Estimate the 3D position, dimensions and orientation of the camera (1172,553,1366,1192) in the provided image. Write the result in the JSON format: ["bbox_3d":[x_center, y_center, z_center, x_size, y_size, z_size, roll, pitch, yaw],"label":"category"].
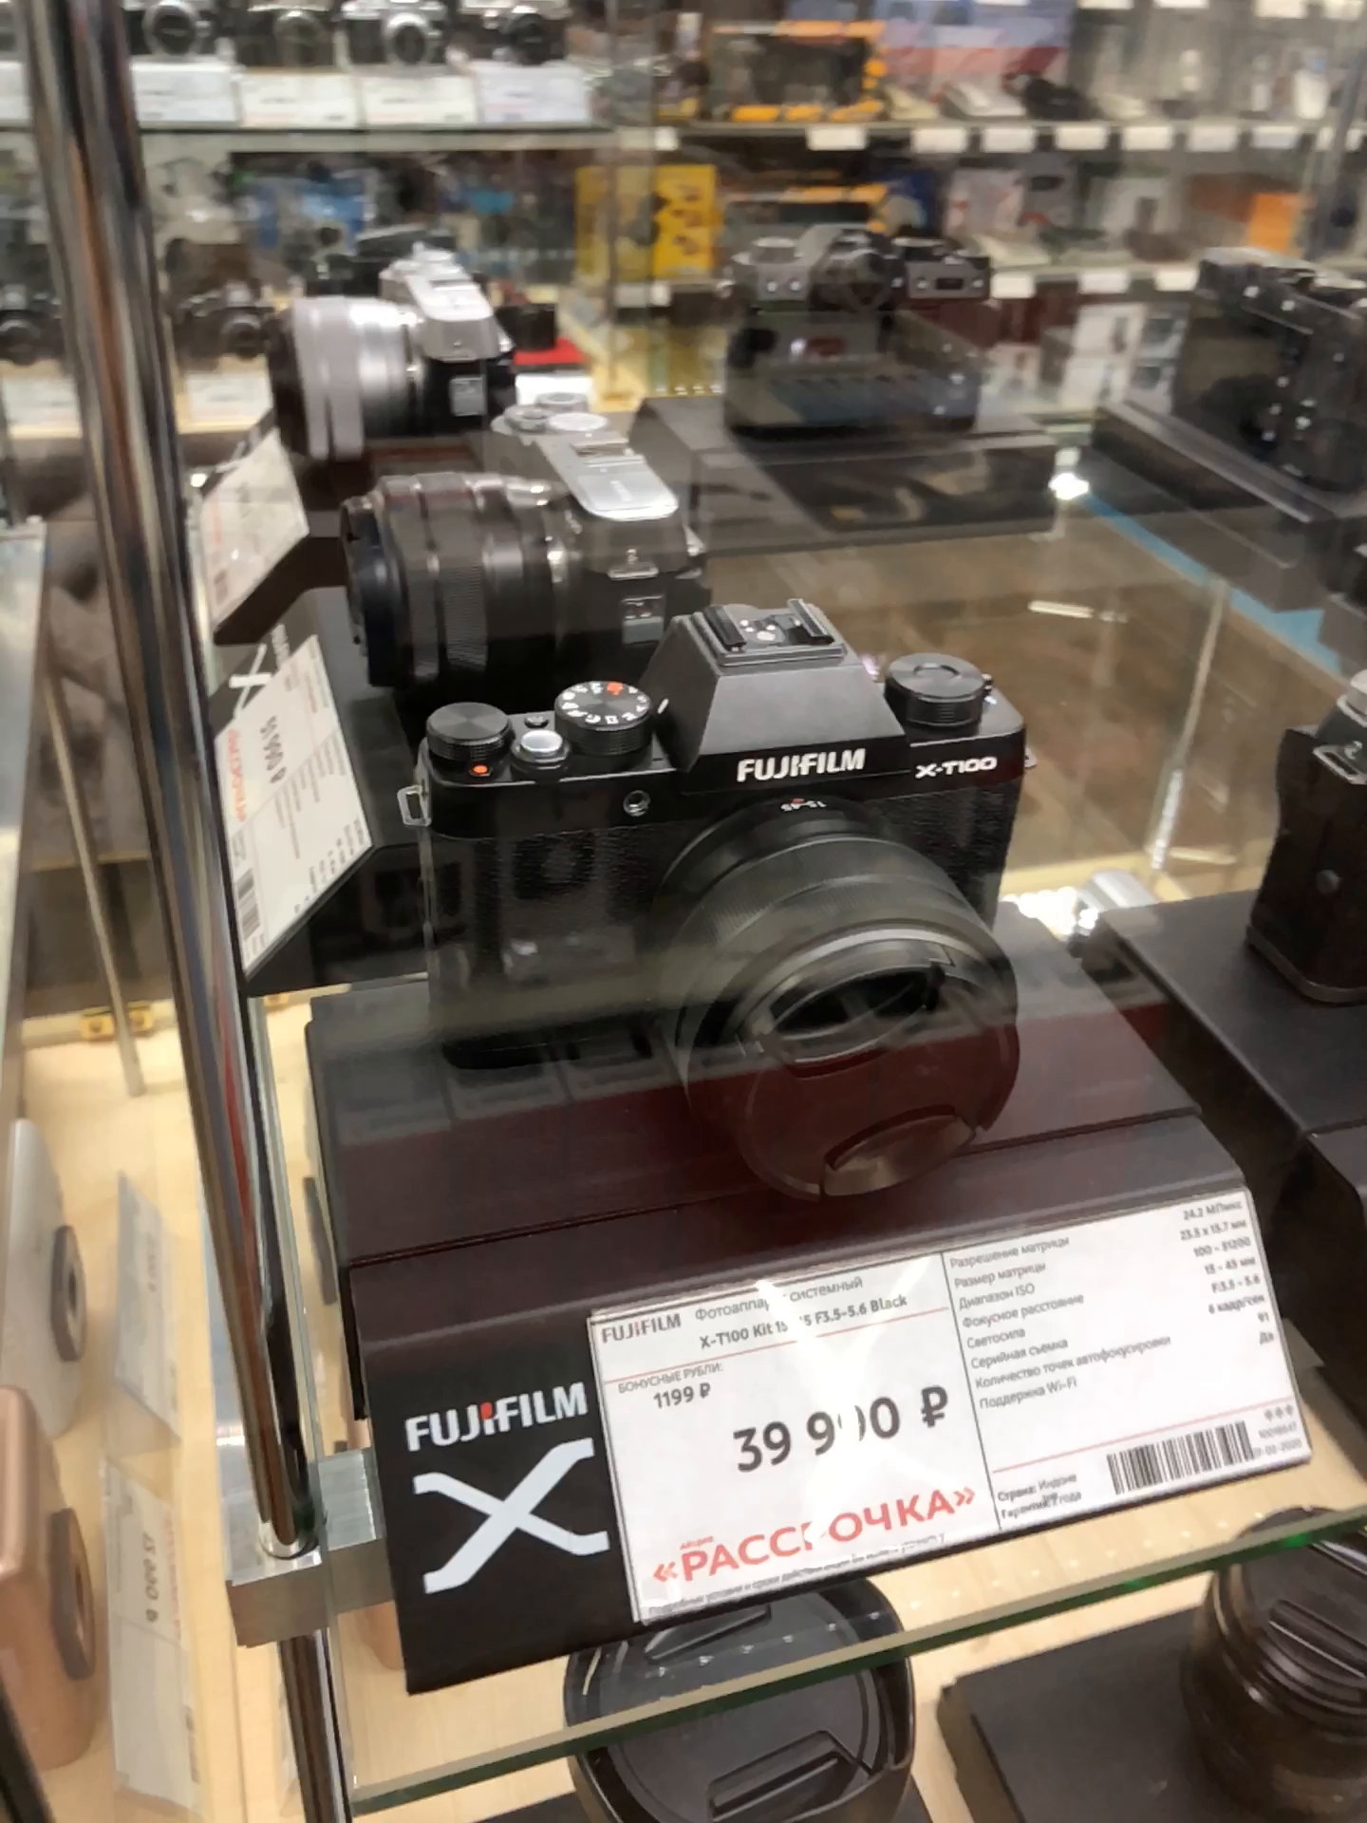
[{"bbox_3d":[0.188,-0.015,0.312,0.120,0.078,0.099,-7,35,-15],"label":"camera"}]

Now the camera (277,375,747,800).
[{"bbox_3d":[-0.052,-0.096,0.423,0.100,0.069,0.121,-9,35,-17],"label":"camera"}]

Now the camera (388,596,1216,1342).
[{"bbox_3d":[0.012,0.004,0.288,0.120,0.089,0.095,-6,34,-14],"label":"camera"}]
